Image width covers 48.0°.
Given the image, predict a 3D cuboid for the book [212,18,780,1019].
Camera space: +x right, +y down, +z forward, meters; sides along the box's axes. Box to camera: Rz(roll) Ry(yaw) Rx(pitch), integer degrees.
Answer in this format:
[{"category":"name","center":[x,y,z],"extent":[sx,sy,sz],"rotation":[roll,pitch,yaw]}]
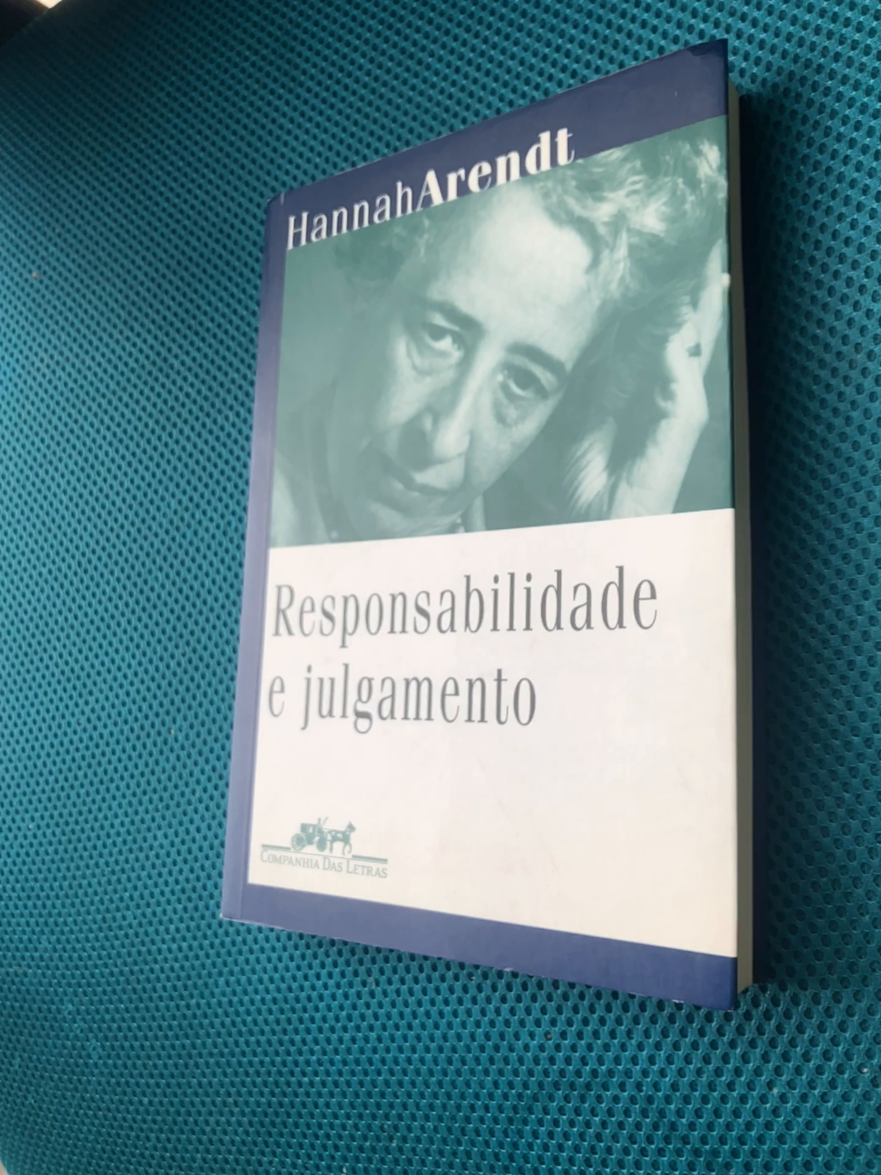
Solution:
[{"category":"book","center":[0.010,-0.016,0.256],"extent":[0.142,0.035,0.209],"rotation":[-3,81,34]}]
